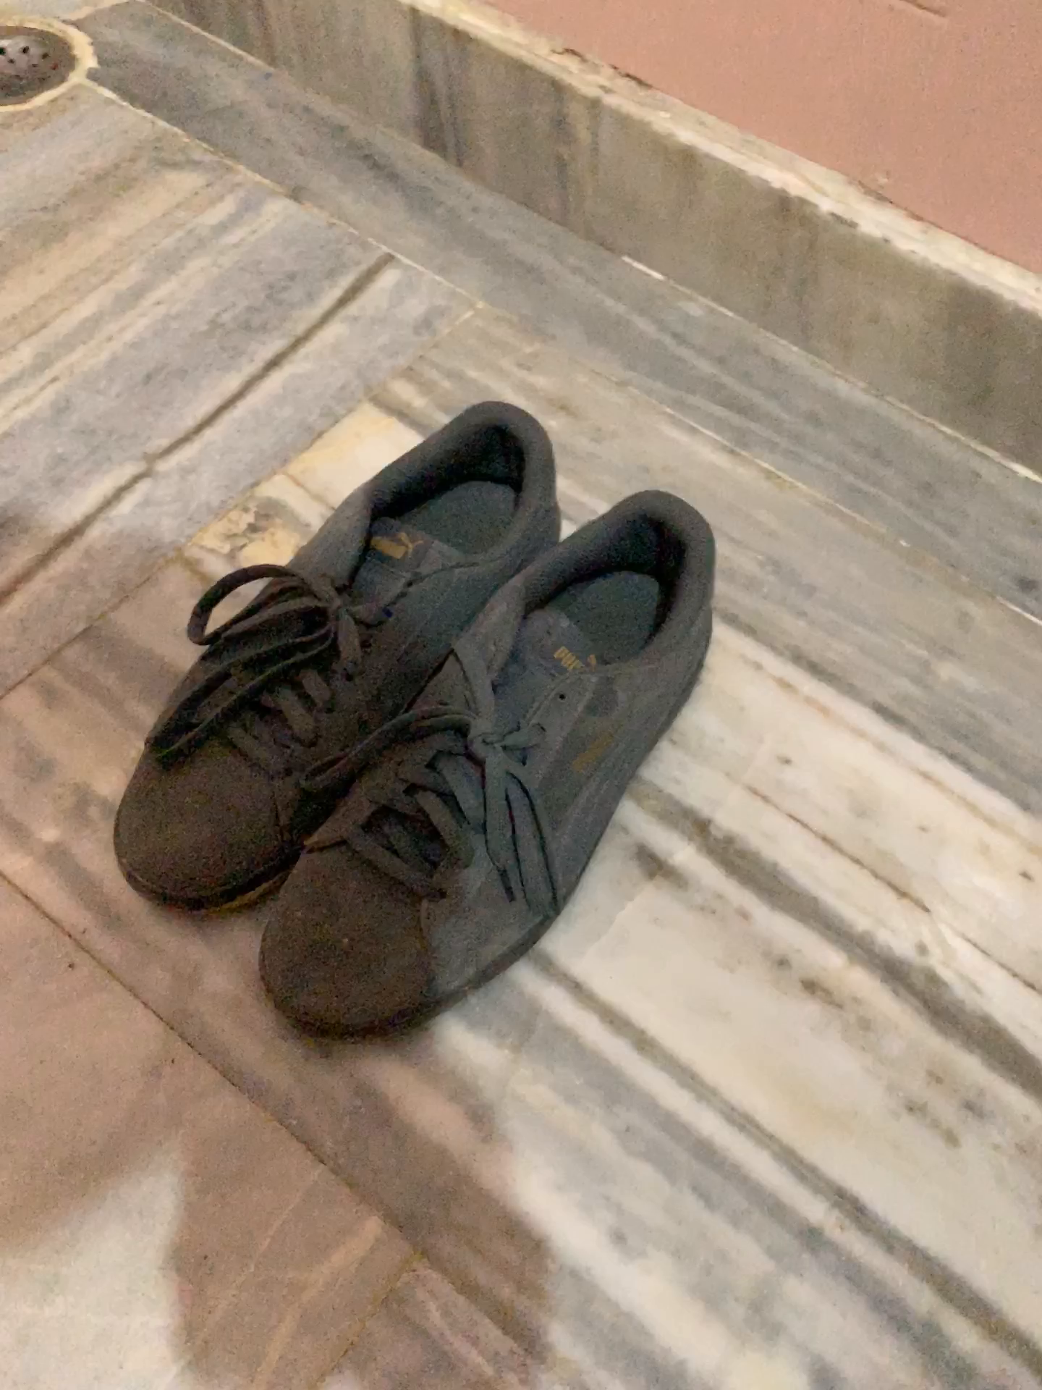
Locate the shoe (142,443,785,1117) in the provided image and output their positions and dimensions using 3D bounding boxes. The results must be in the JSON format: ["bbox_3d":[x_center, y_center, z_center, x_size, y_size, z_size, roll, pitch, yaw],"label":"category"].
[{"bbox_3d":[-0.013,0.029,0.493,0.110,0.100,0.290,35,65,16],"label":"shoe"}]

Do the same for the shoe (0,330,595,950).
[{"bbox_3d":[-0.099,-0.036,0.521,0.110,0.100,0.290,35,65,16],"label":"shoe"}]
